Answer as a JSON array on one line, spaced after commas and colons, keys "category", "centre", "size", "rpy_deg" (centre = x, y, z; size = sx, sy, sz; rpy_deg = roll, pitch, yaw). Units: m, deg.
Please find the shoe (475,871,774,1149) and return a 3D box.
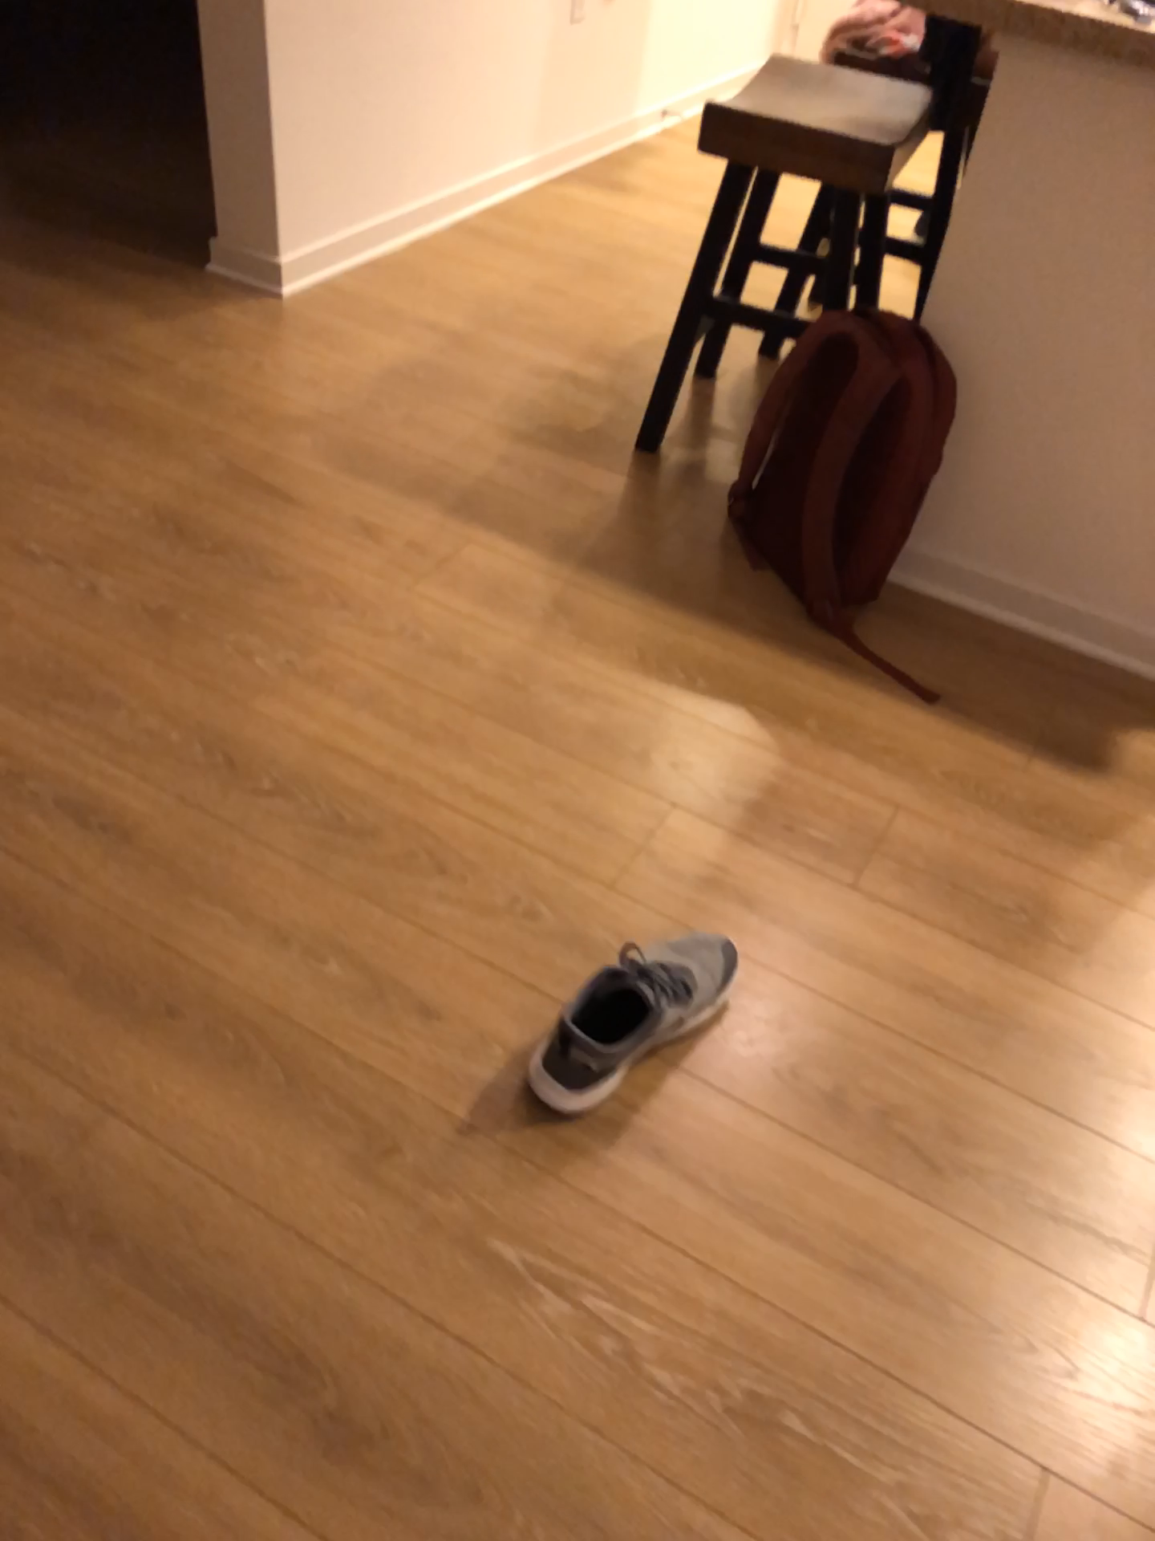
[{"category": "shoe", "centre": [0.053, 0.246, 1.352], "size": [0.301, 0.089, 0.140], "rpy_deg": [-29, 53, -34]}]
